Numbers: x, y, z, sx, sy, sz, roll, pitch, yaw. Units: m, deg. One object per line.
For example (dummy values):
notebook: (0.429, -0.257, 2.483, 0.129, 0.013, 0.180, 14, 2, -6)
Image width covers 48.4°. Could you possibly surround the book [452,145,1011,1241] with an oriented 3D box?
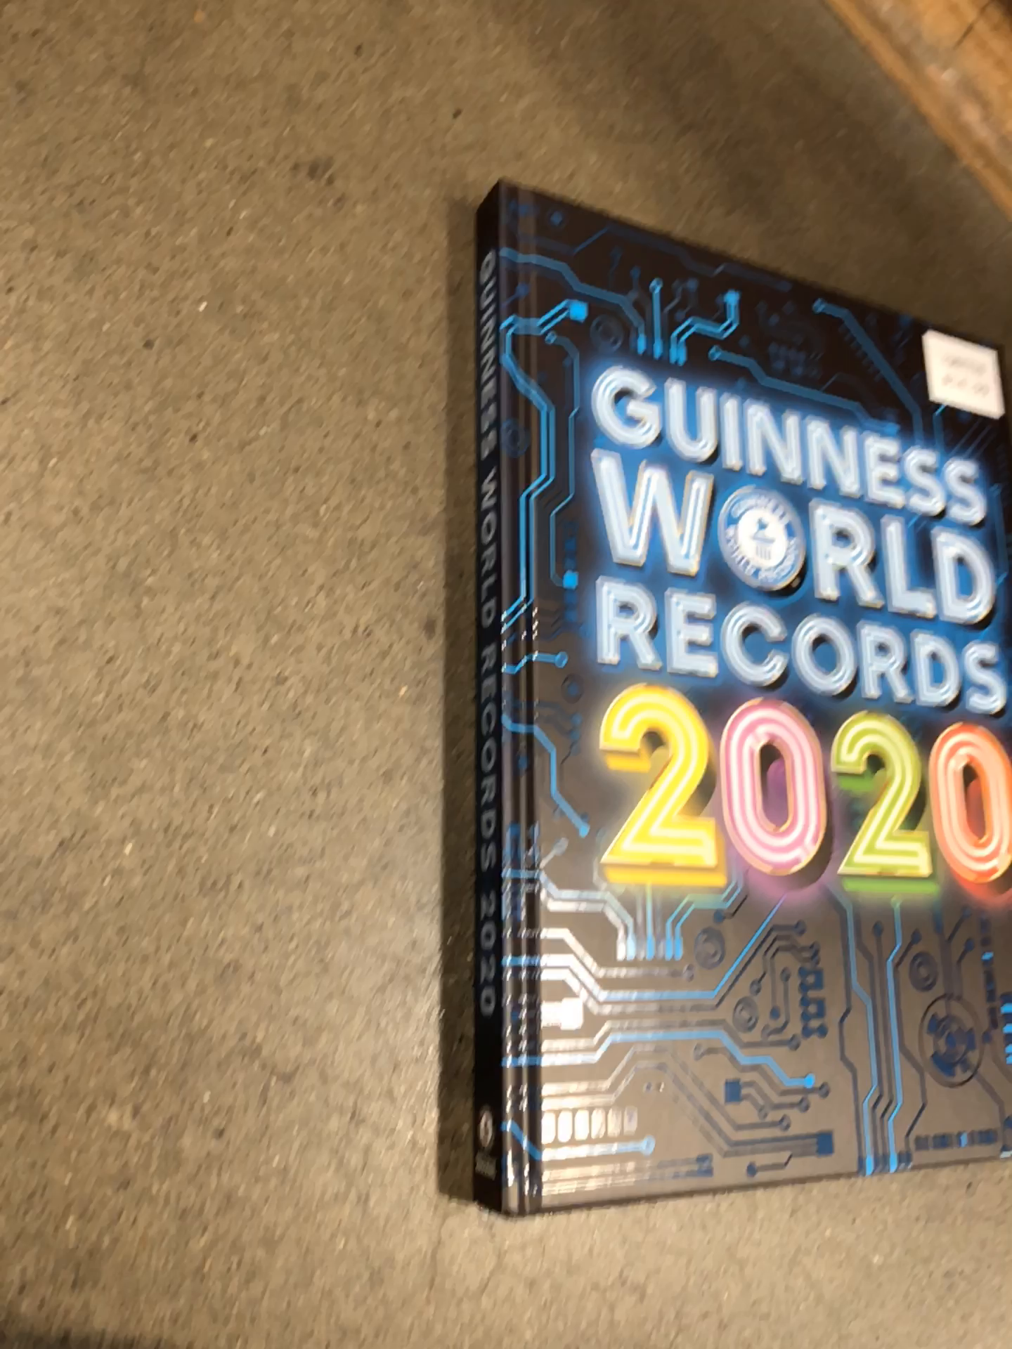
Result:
book: (0.098, 0.002, 0.378, 0.241, 0.030, 0.312, 7, 74, -26)
